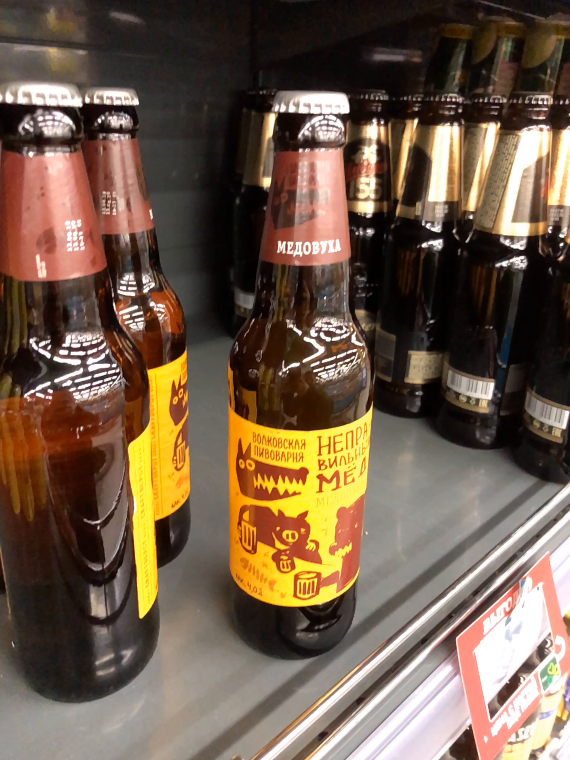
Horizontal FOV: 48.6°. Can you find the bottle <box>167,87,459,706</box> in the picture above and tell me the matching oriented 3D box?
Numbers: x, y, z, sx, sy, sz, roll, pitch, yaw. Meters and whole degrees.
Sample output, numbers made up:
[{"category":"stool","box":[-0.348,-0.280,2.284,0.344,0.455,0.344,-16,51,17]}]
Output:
[{"category":"bottle","box":[0.006,0.009,0.275,0.070,0.243,0.080,22,30,38]}]
